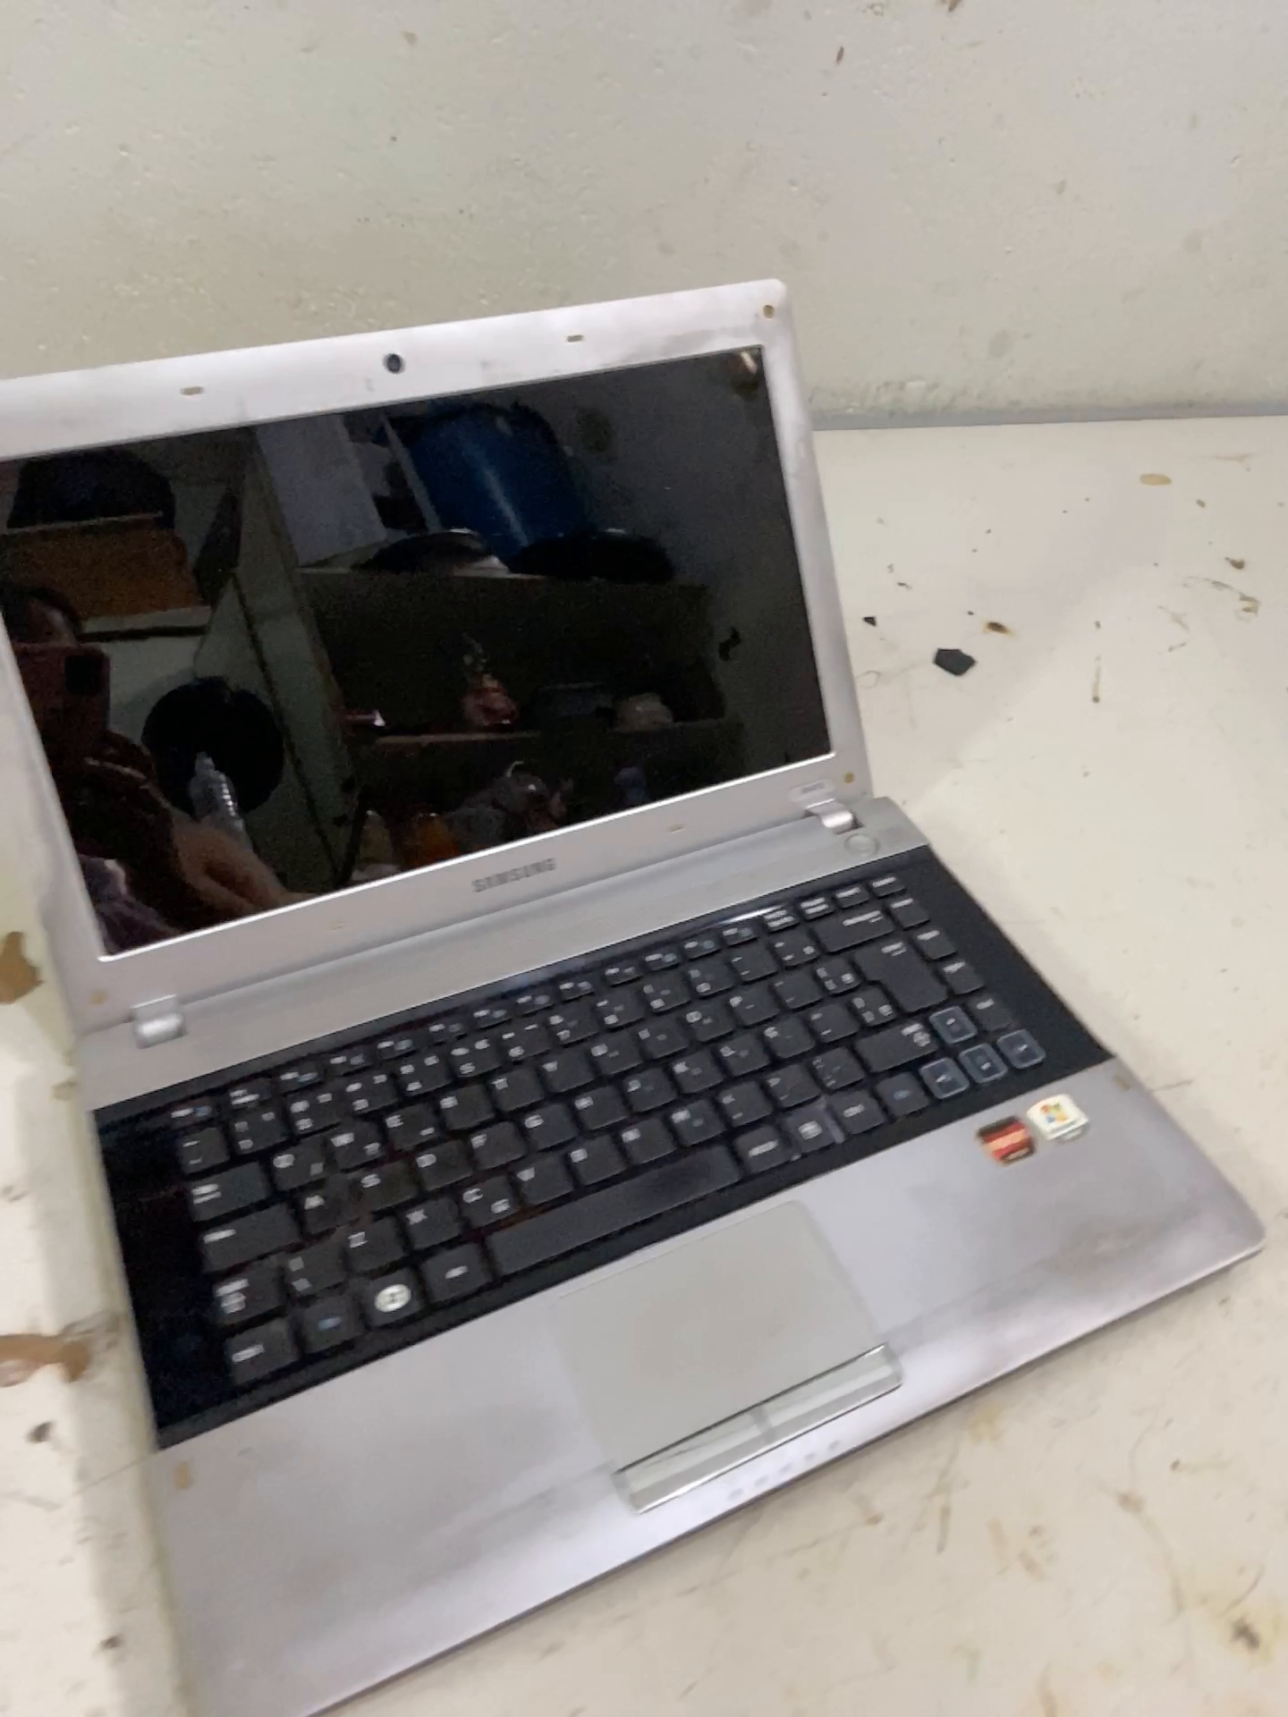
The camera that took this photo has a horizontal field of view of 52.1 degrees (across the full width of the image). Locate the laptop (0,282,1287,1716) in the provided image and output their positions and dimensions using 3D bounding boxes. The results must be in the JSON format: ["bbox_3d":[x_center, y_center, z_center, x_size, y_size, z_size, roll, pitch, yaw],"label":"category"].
[{"bbox_3d":[-0.023,-0.014,0.433,0.342,0.180,0.368,-16,46,-19],"label":"laptop"}]
